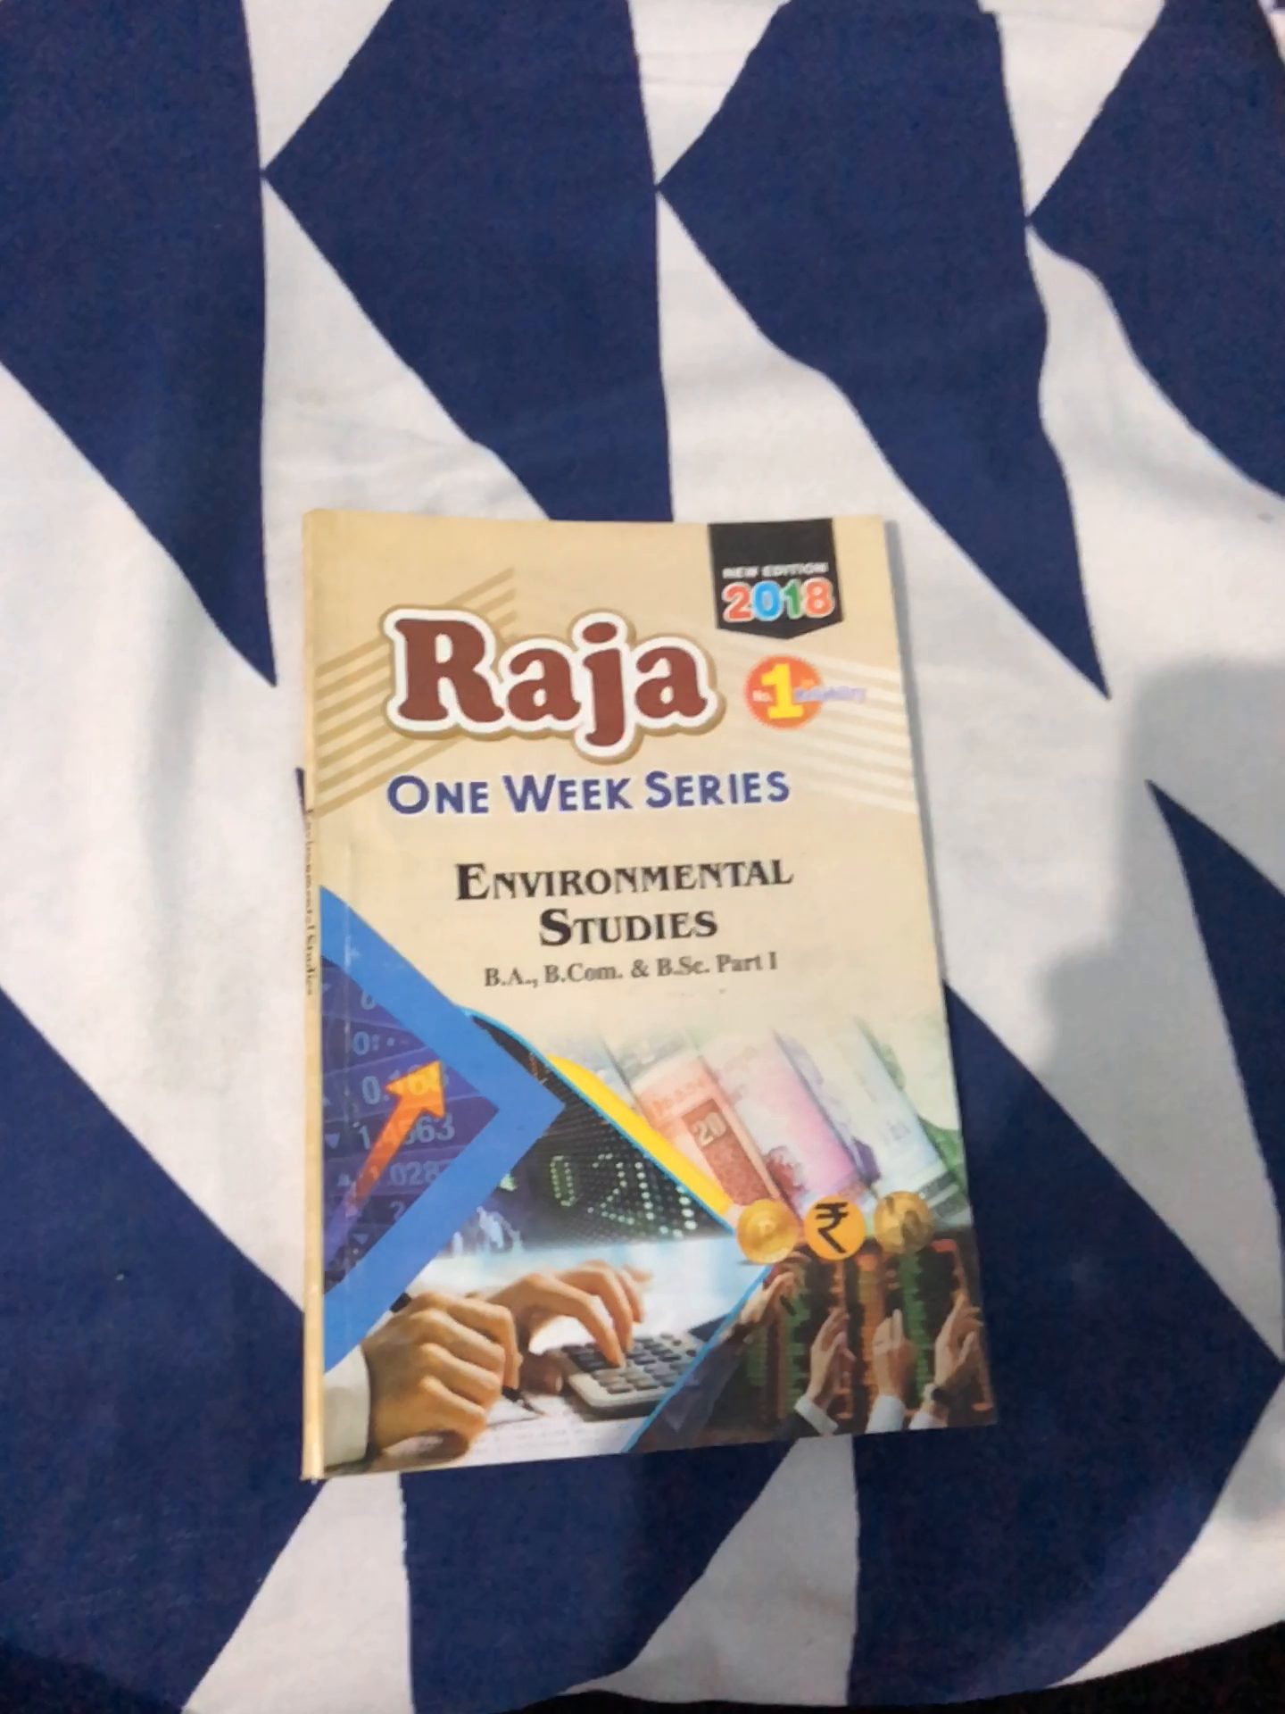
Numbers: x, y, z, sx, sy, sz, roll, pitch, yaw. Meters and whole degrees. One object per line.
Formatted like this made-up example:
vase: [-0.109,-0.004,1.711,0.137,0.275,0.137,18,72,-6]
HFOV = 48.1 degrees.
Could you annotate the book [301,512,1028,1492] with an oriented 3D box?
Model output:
book: [-0.001,0.021,0.306,0.140,0.010,0.200,-2,76,-5]
